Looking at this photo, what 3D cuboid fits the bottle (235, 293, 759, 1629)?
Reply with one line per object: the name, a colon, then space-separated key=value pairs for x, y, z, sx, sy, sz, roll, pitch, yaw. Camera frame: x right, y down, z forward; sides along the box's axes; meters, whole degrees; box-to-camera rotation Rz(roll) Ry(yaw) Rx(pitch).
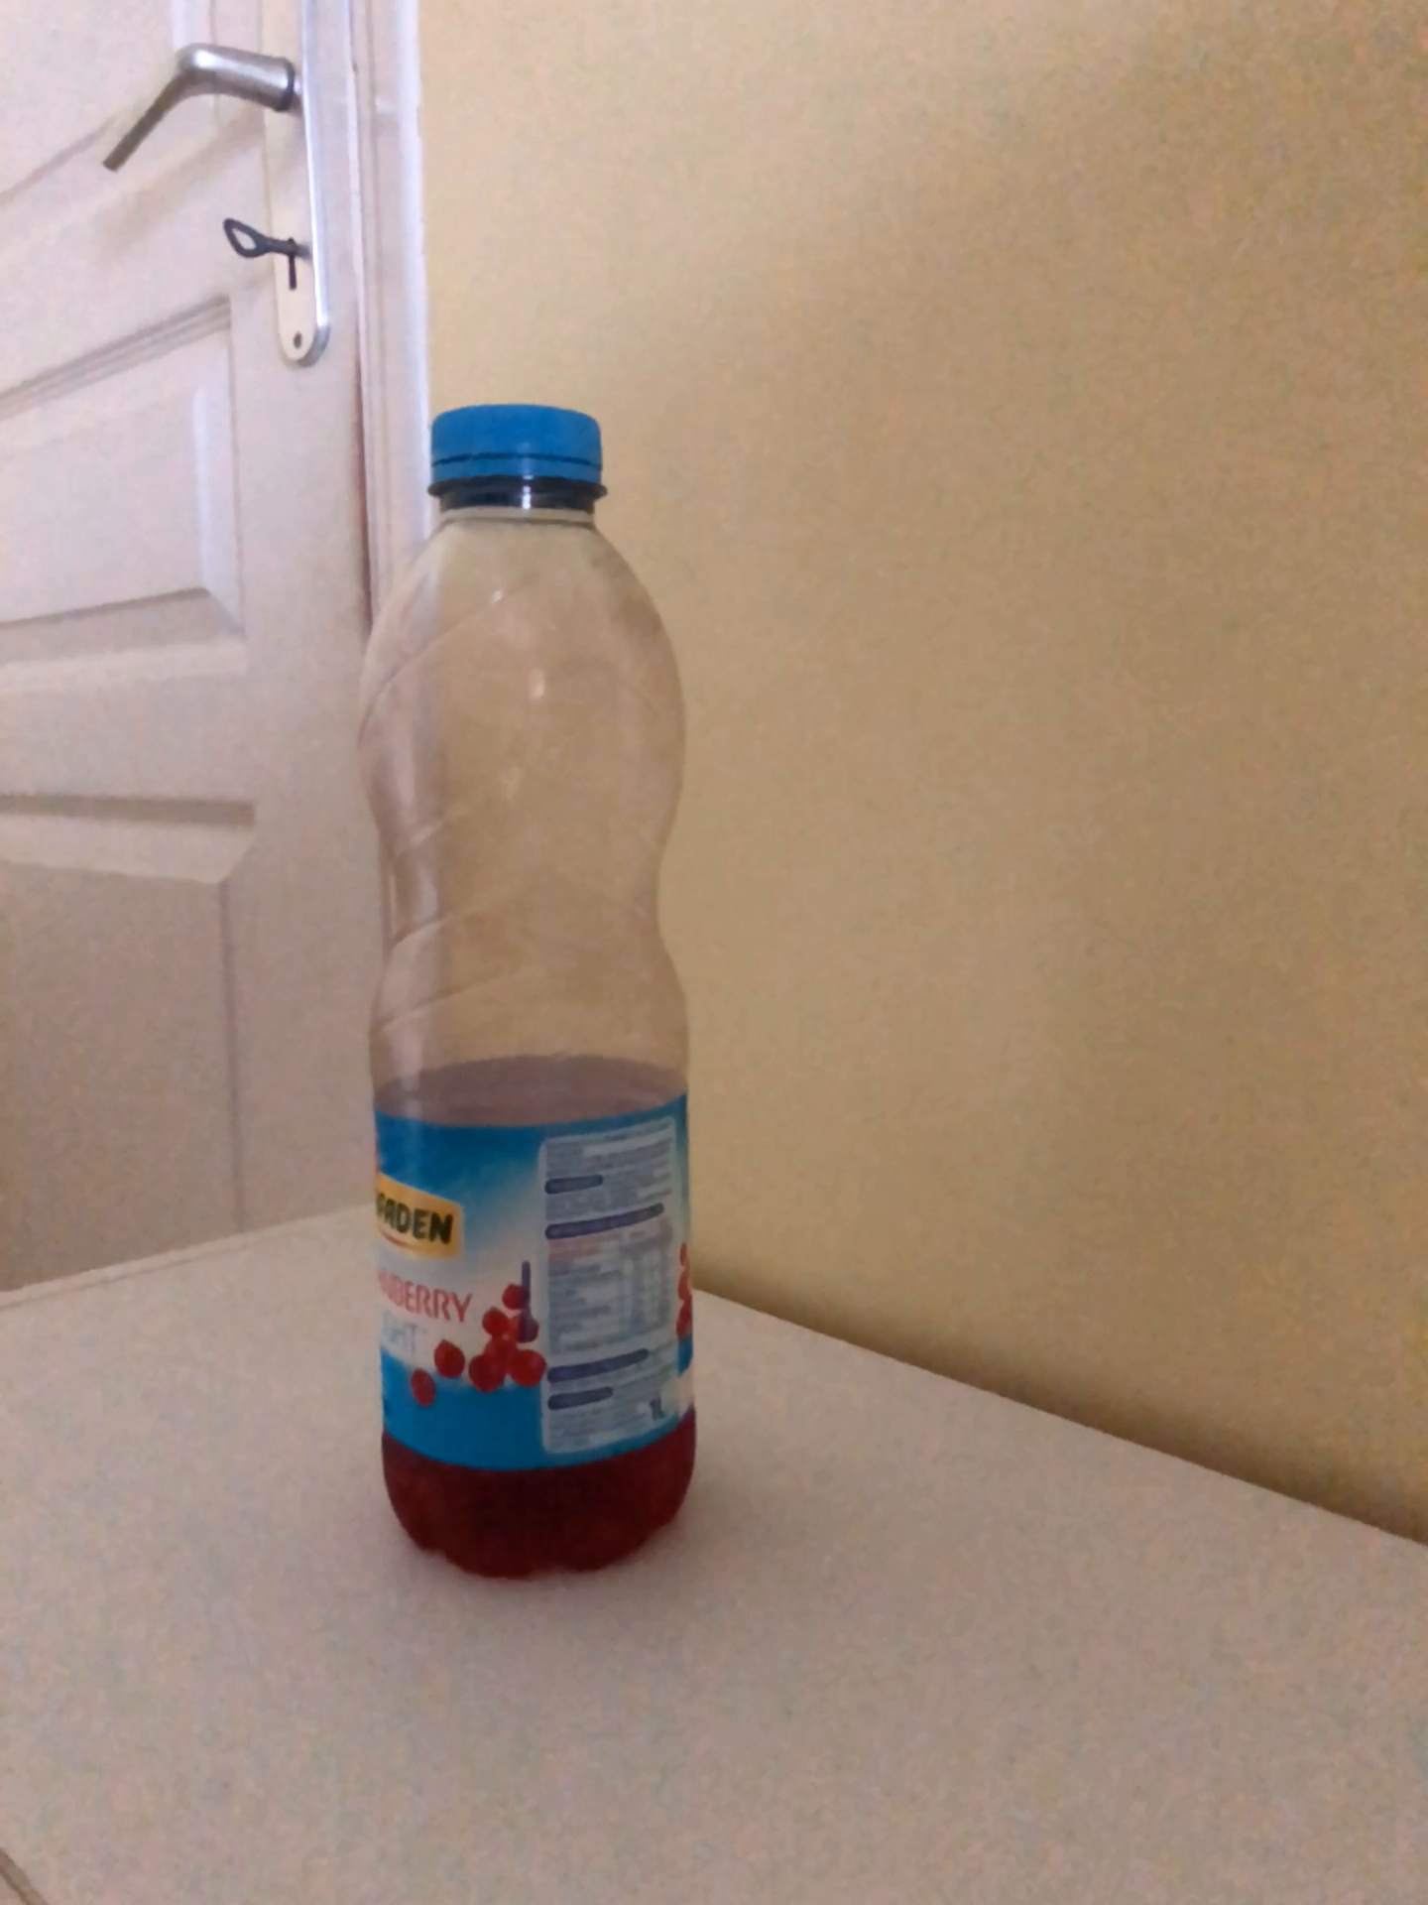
bottle: x=-0.051 y=0.000 z=0.374 sx=0.080 sy=0.270 sz=0.090 roll=-6 pitch=8 yaw=-40
